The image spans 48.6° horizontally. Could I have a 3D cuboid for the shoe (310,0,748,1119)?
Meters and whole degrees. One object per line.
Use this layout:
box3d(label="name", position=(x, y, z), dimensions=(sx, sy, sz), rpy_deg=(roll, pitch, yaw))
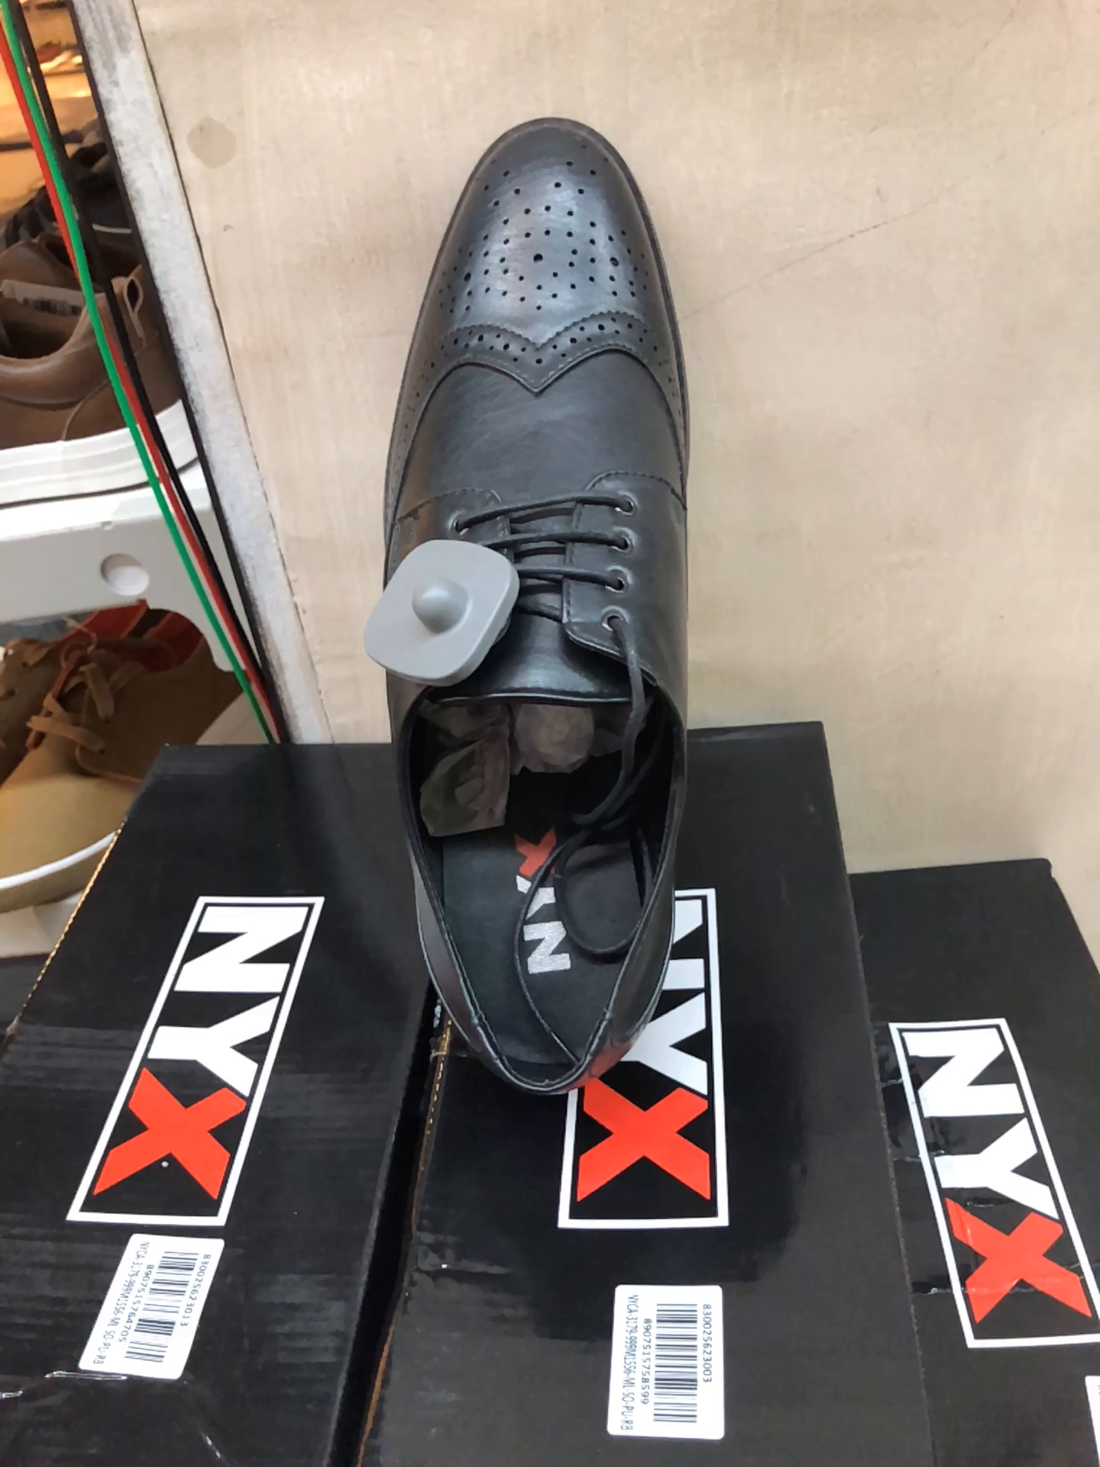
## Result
box3d(label="shoe", position=(0.001, -0.053, 0.360), dimensions=(0.106, 0.297, 0.106), rpy_deg=(0, -4, 6))
